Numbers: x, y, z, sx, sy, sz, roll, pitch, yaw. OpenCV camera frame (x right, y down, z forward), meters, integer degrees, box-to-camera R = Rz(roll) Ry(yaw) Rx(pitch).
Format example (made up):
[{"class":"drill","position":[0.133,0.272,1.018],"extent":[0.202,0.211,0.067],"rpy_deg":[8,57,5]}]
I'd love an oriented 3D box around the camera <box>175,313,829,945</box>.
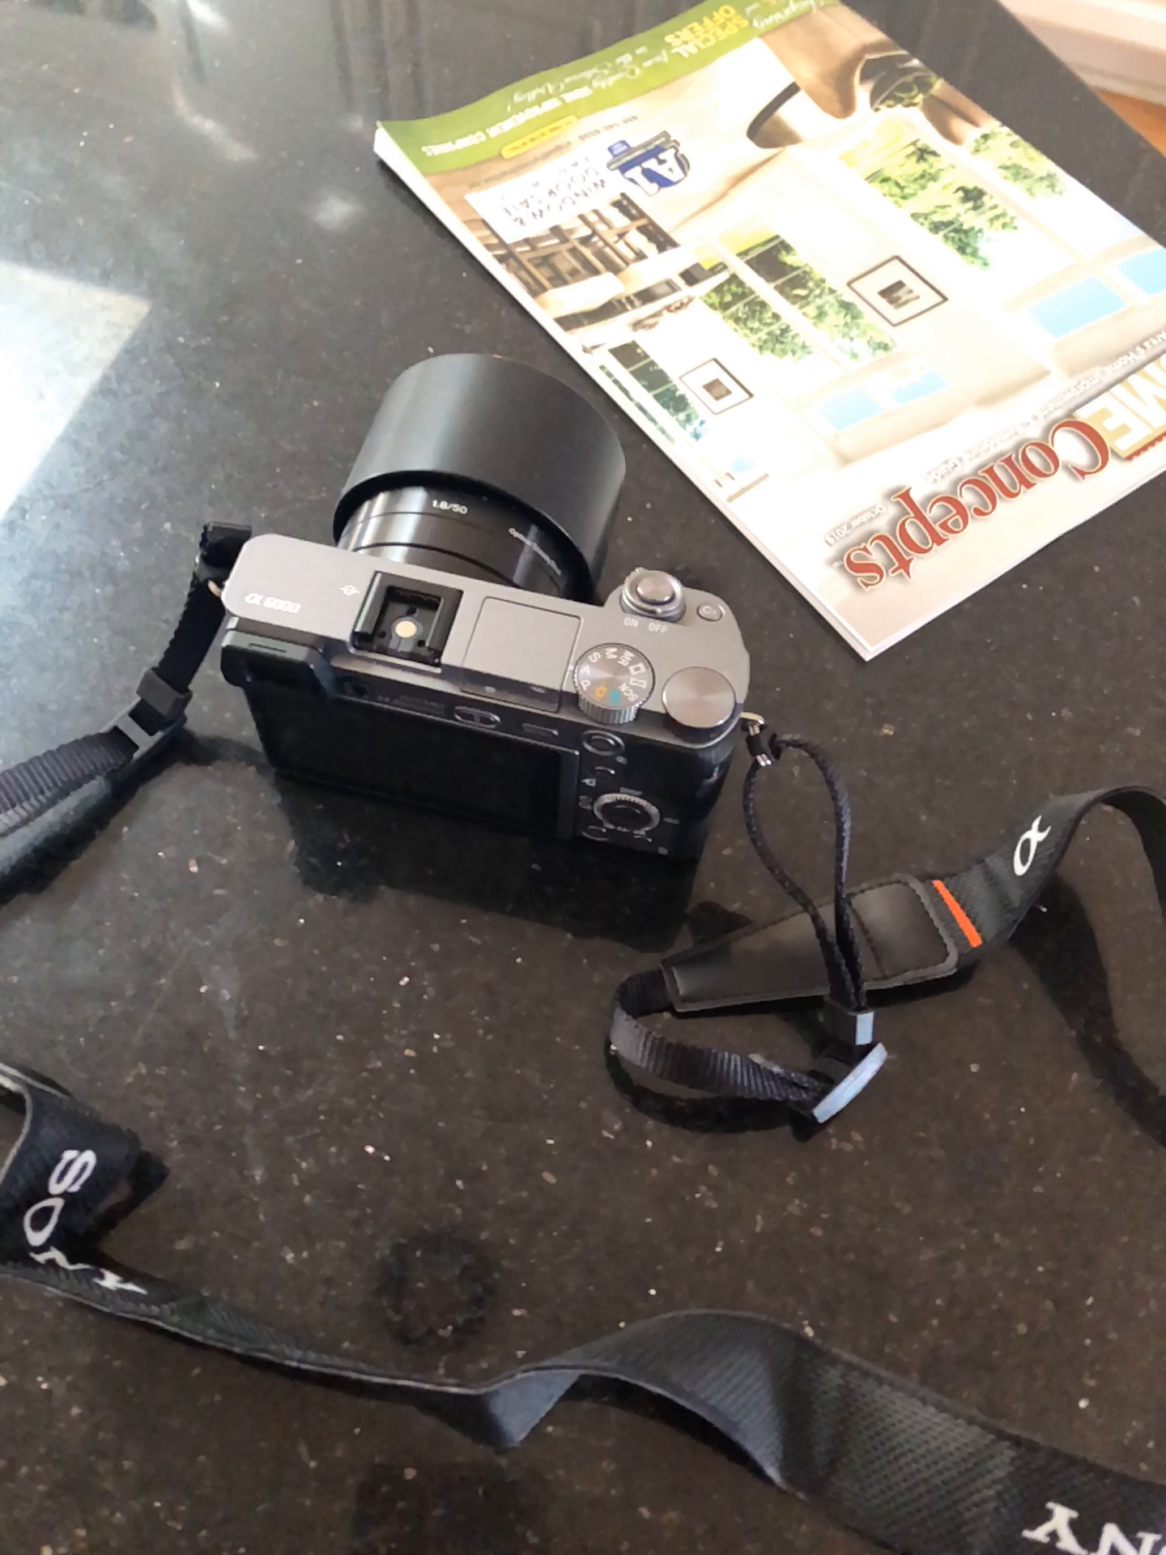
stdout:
[{"class":"camera","position":[-0.016,-0.035,0.337],"extent":[0.127,0.100,0.099],"rpy_deg":[14,61,4]}]
